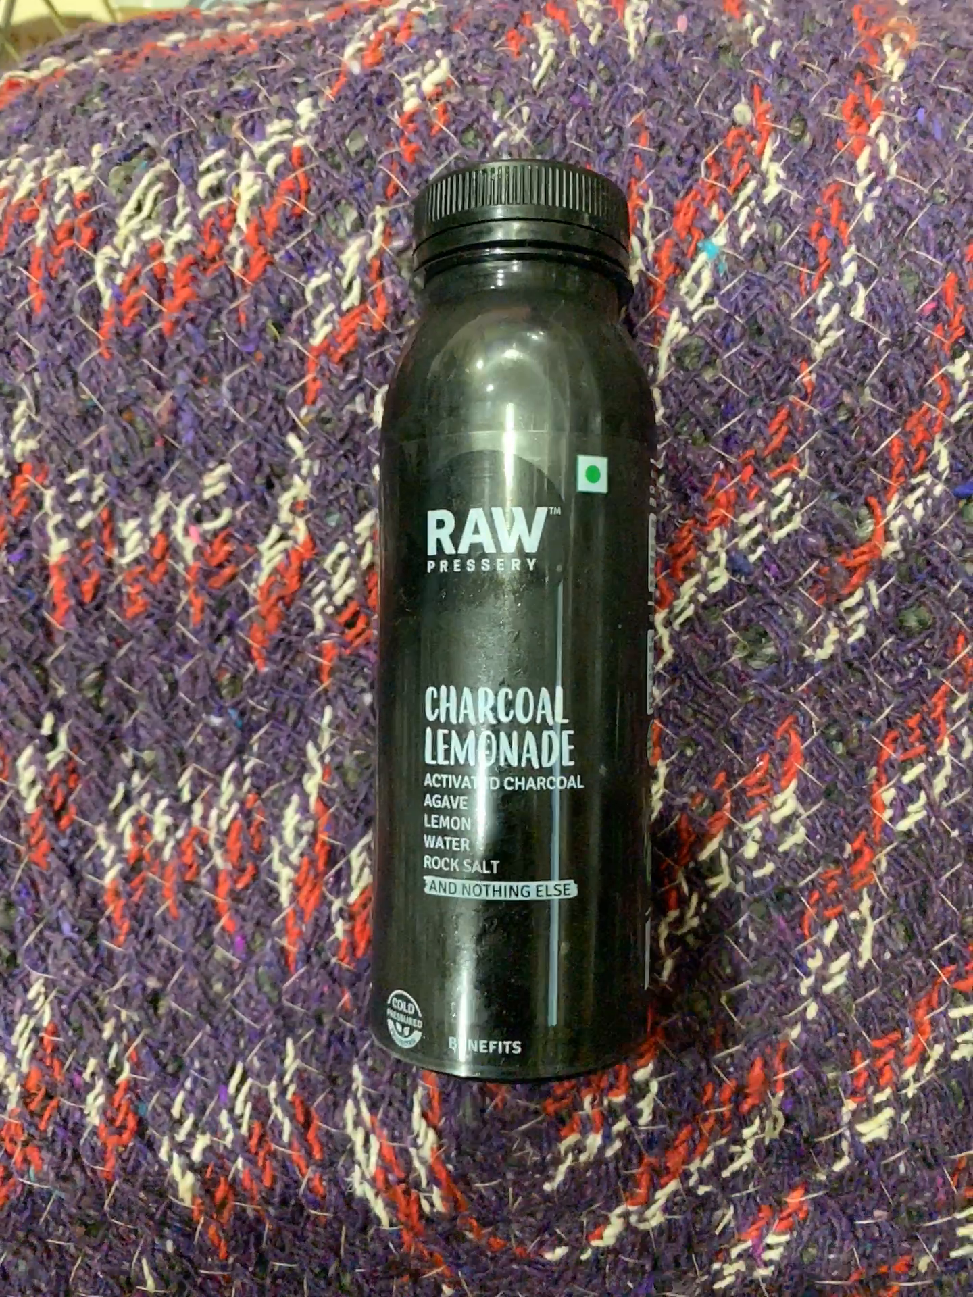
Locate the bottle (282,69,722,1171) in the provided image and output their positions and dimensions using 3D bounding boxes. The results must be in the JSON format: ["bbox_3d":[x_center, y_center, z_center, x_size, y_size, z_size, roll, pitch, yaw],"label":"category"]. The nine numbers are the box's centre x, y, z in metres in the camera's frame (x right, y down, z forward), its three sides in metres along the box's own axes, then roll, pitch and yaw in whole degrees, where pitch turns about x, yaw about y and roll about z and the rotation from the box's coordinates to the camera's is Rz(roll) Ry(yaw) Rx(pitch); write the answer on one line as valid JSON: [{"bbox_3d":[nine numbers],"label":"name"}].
[{"bbox_3d":[0.003,-0.004,0.175,0.060,0.050,0.160,2,94,6],"label":"bottle"}]
